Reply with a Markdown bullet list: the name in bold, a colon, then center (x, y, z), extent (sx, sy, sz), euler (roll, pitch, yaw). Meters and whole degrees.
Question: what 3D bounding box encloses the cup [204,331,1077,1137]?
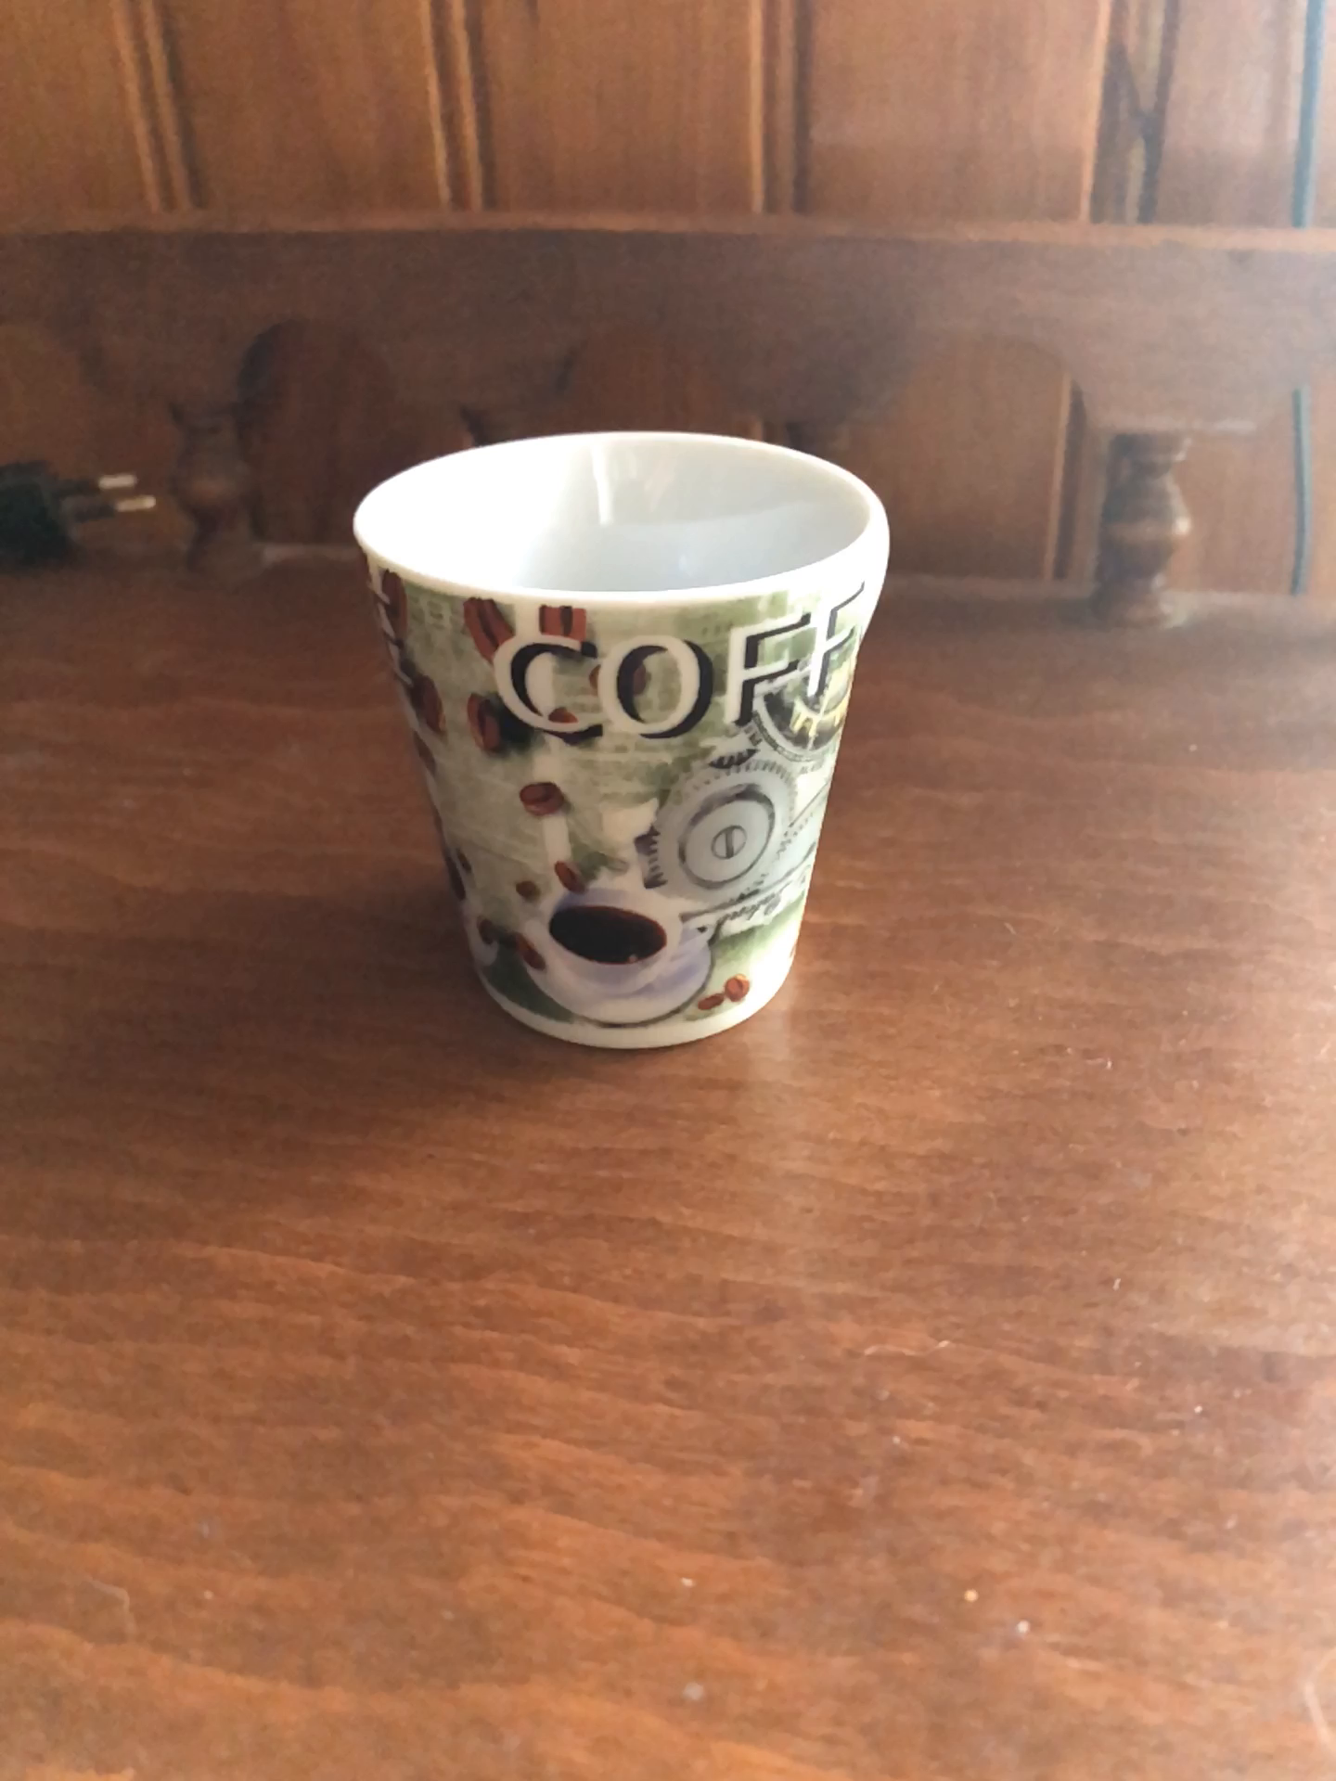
- **cup**: center (0.000, -0.026, 0.184), extent (0.060, 0.060, 0.080), euler (23, 40, 34)
